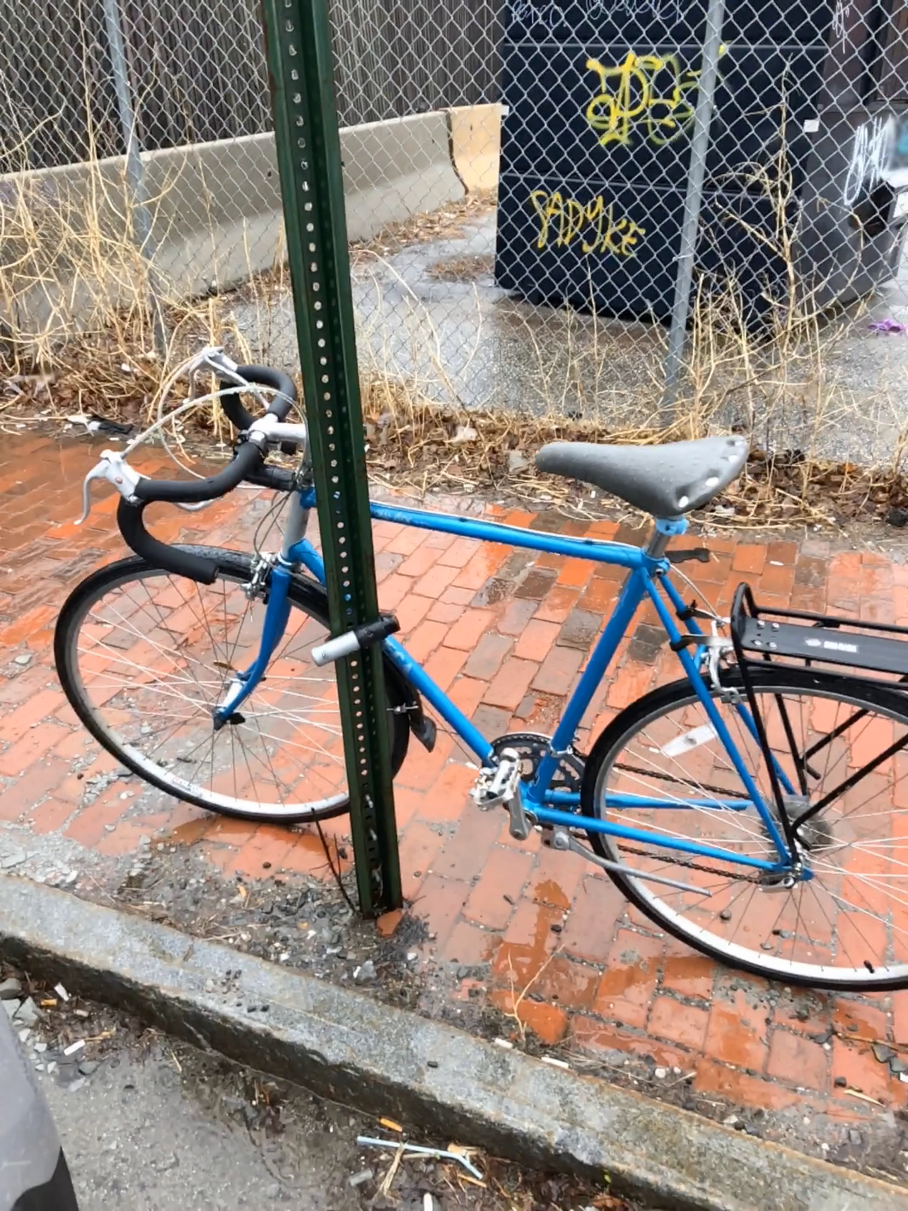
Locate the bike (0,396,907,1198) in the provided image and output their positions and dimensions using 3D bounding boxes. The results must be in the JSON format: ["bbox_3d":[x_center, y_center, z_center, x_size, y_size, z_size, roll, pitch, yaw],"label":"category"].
[{"bbox_3d":[0.028,0.248,1.773,1.864,0.919,0.475,10,31,16],"label":"bike"}]
